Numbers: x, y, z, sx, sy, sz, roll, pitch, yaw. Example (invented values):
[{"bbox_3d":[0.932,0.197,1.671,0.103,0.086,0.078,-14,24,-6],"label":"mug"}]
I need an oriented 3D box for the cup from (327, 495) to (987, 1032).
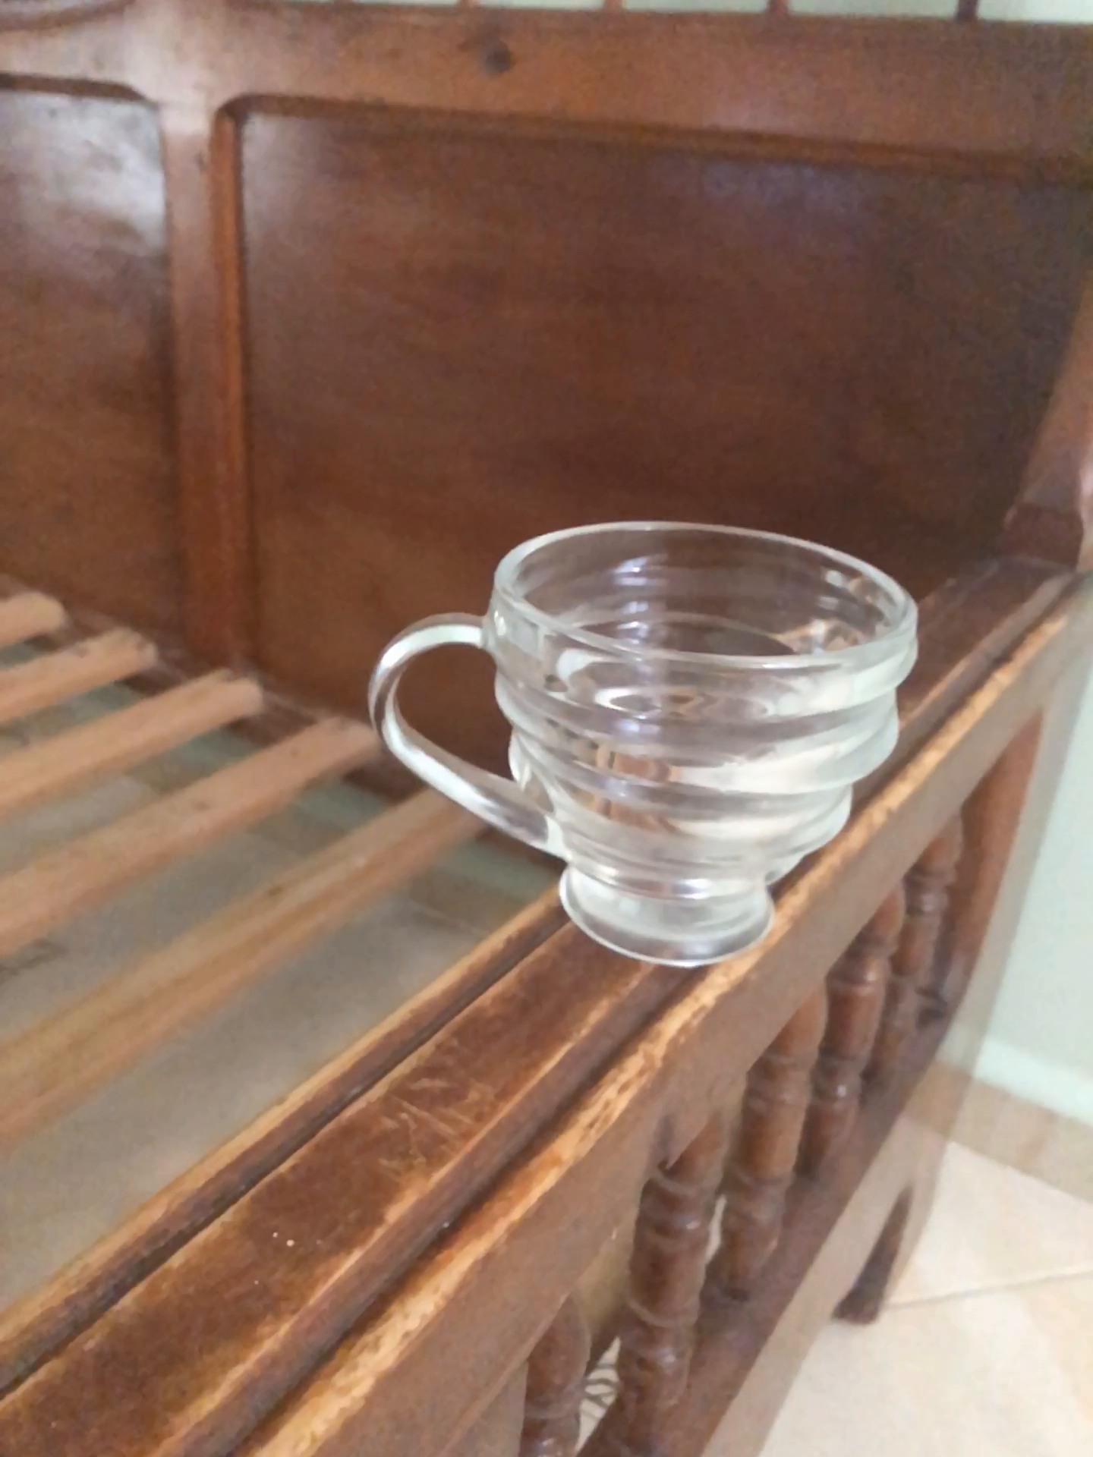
[{"bbox_3d":[0.021,0.001,0.242,0.105,0.065,0.076,8,26,8],"label":"cup"}]
